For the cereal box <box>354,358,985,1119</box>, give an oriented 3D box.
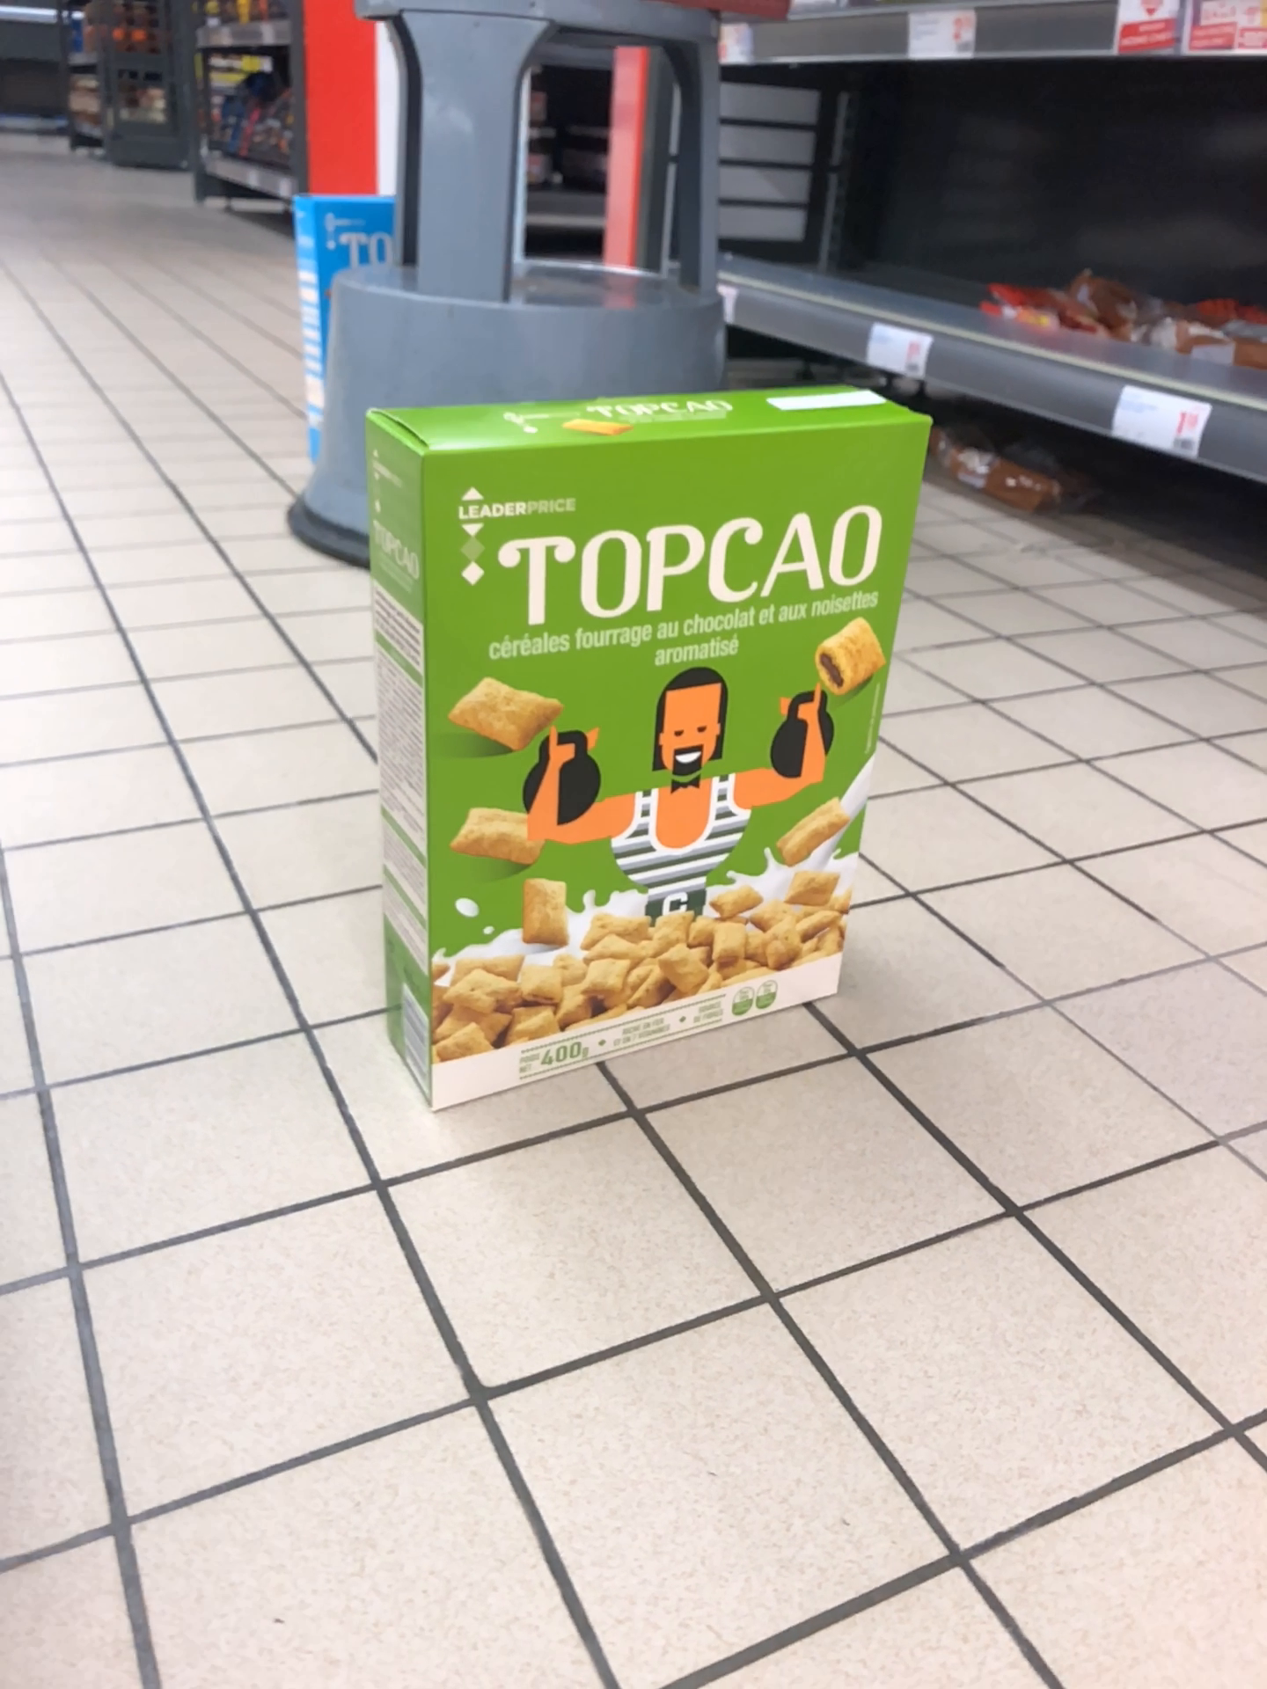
[{"bbox_3d":[0.008,-0.040,0.515,0.201,0.248,0.060,-12,34,-25],"label":"cereal box"}]
